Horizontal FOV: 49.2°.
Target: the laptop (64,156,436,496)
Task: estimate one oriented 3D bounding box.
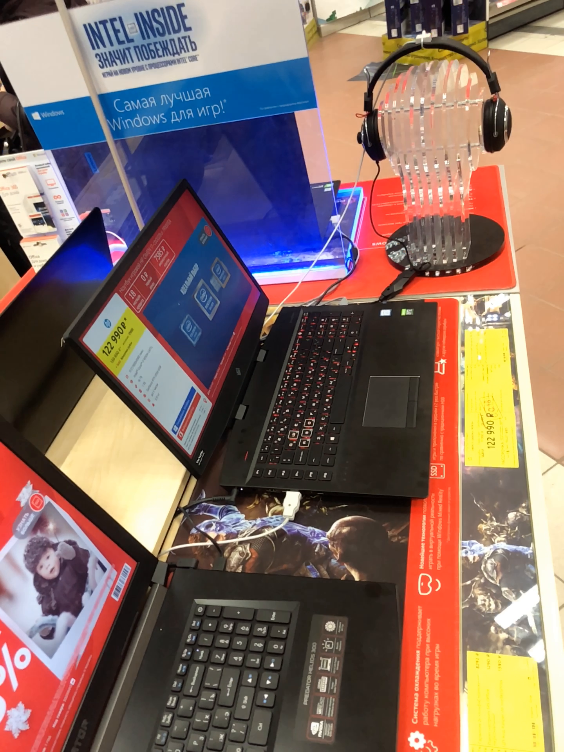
[{"bbox_3d":[0.006,-0.085,0.849,0.375,0.246,0.393,0,42,16],"label":"laptop"}]
